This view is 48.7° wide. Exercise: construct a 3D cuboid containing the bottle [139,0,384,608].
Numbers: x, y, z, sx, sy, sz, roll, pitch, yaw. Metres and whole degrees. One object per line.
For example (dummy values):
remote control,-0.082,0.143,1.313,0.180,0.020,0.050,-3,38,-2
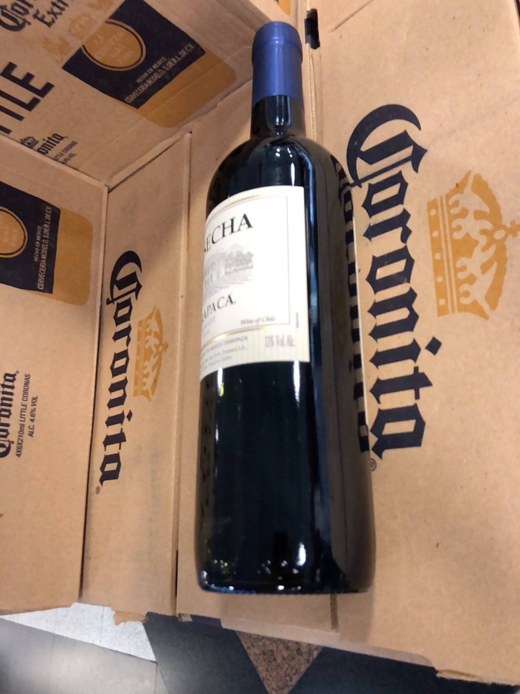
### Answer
bottle,0.004,-0.054,0.283,0.070,0.060,0.331,-14,62,30
